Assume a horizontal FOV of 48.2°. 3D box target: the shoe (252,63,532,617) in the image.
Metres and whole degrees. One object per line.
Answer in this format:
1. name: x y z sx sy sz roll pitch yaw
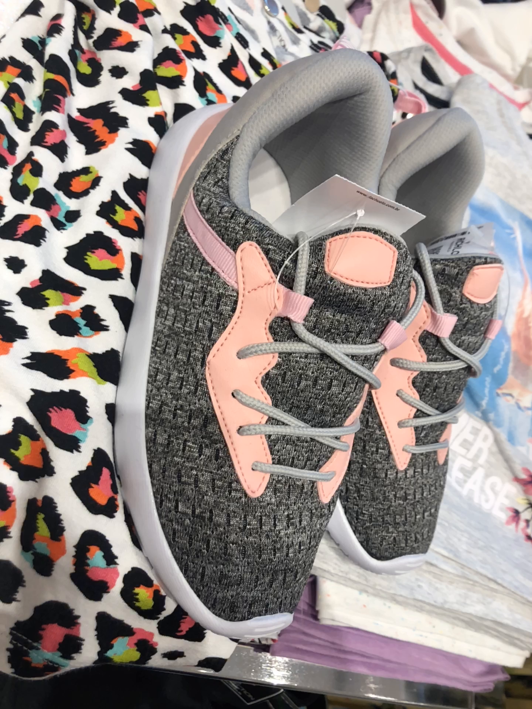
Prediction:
1. shoe: 0.066 -0.002 0.289 0.101 0.099 0.210 6 77 -37

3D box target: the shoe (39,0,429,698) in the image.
1. shoe: -0.014 -0.010 0.236 0.101 0.099 0.220 9 75 -36
